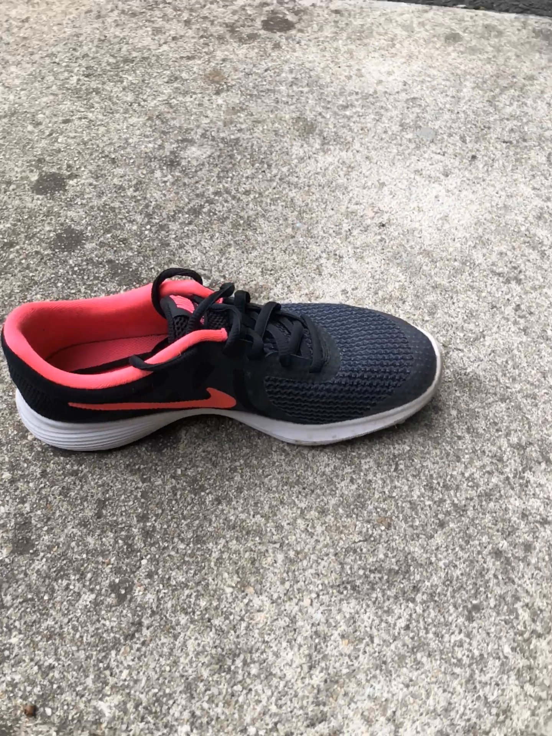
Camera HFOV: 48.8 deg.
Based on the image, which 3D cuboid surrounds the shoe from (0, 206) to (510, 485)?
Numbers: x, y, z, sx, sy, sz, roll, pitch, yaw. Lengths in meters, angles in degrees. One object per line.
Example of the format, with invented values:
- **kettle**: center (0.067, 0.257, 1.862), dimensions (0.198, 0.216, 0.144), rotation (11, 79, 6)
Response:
- **shoe**: center (-0.027, -0.013, 0.359), dimensions (0.272, 0.100, 0.110), rotation (-4, 56, -2)
